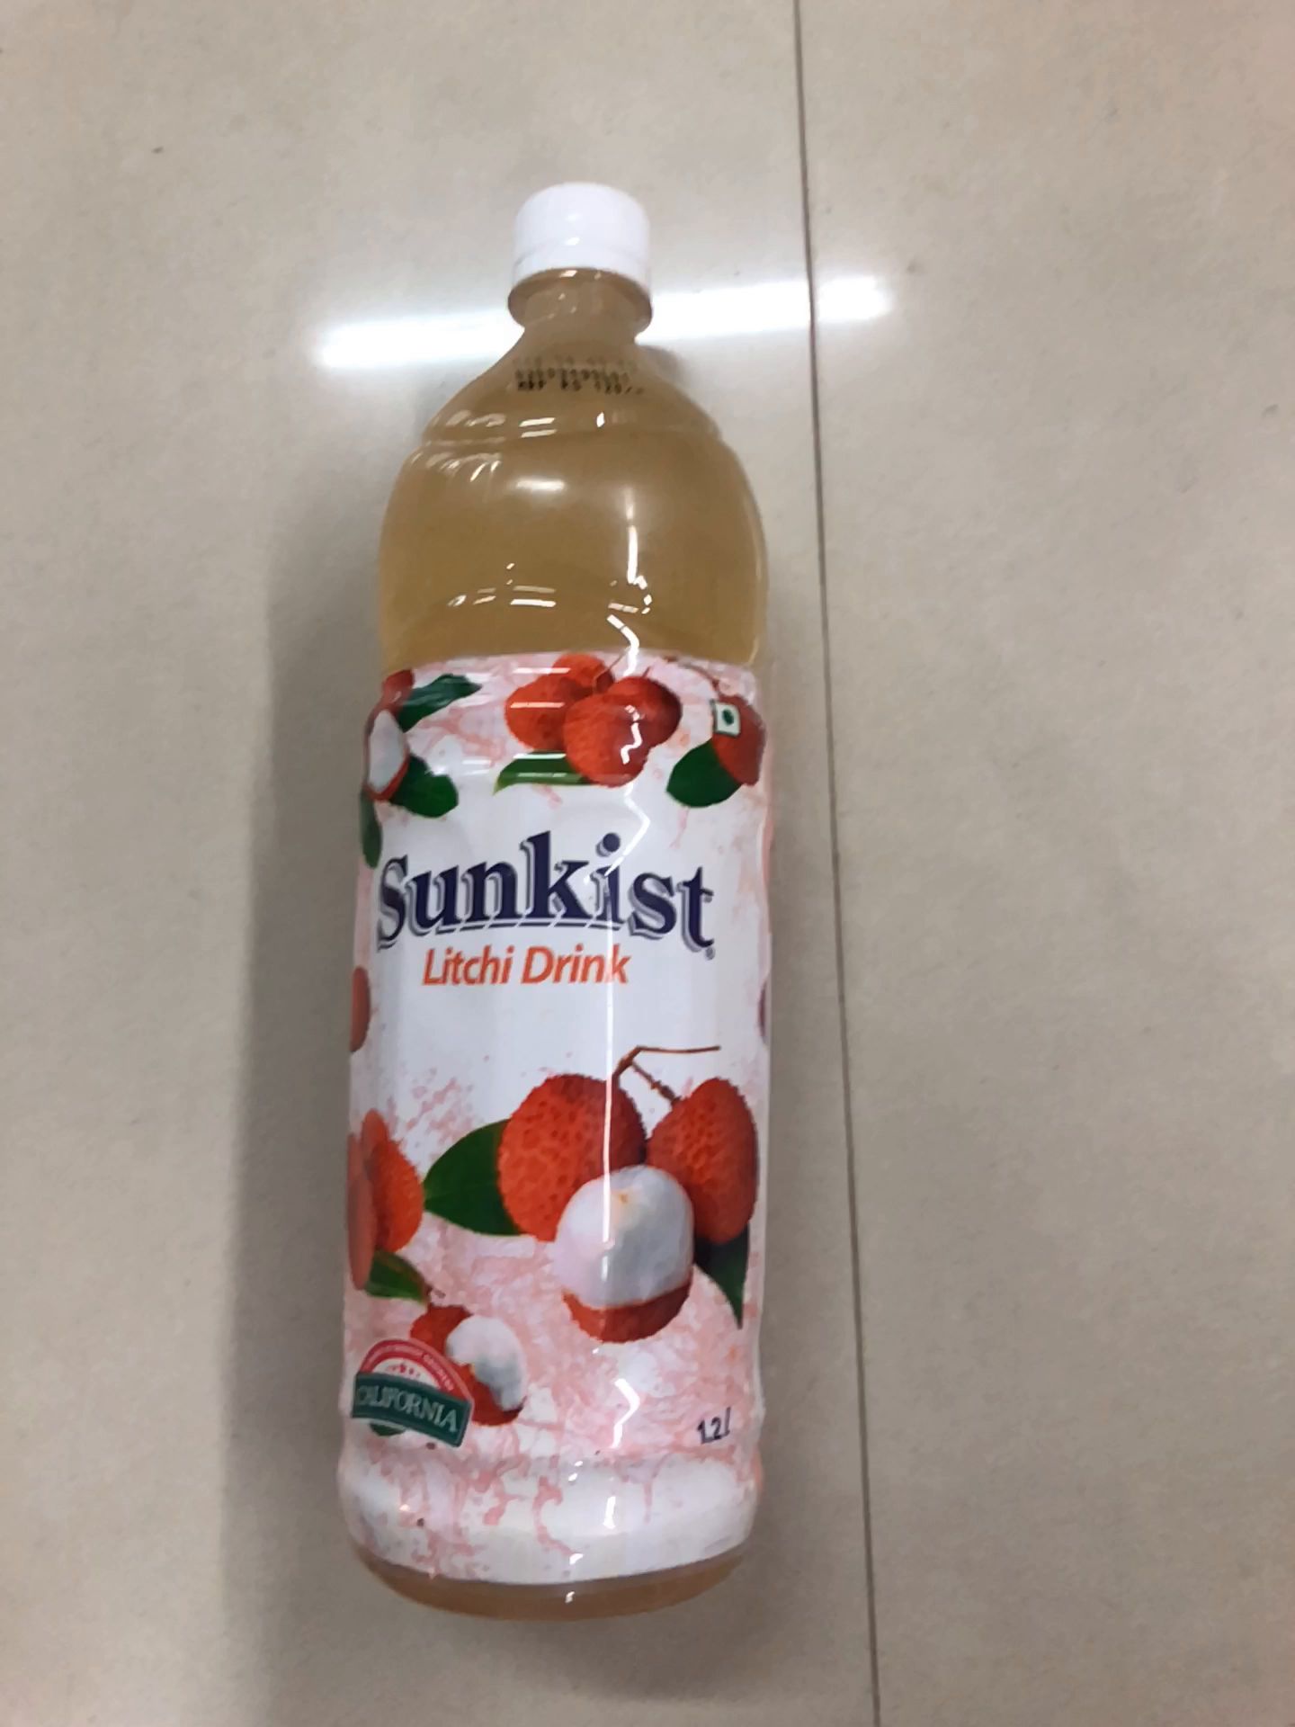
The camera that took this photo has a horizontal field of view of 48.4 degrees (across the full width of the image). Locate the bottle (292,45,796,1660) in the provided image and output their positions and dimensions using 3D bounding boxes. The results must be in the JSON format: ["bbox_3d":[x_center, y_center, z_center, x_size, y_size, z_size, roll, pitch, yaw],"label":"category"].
[{"bbox_3d":[-0.015,-0.006,0.312,0.090,0.080,0.300,0,85,8],"label":"bottle"}]
